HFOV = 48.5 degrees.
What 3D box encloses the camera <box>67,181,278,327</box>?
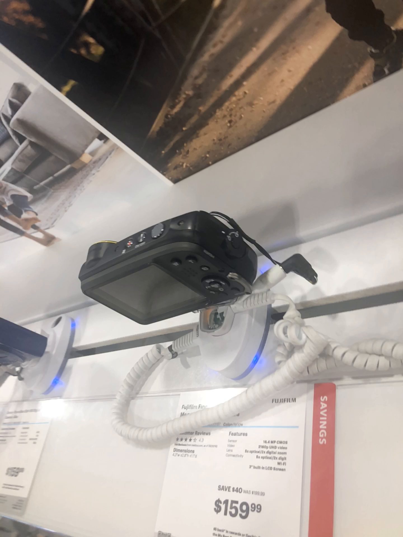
[{"bbox_3d":[-0.019,-0.001,0.277,0.111,0.070,0.030,-20,48,38],"label":"camera"}]
